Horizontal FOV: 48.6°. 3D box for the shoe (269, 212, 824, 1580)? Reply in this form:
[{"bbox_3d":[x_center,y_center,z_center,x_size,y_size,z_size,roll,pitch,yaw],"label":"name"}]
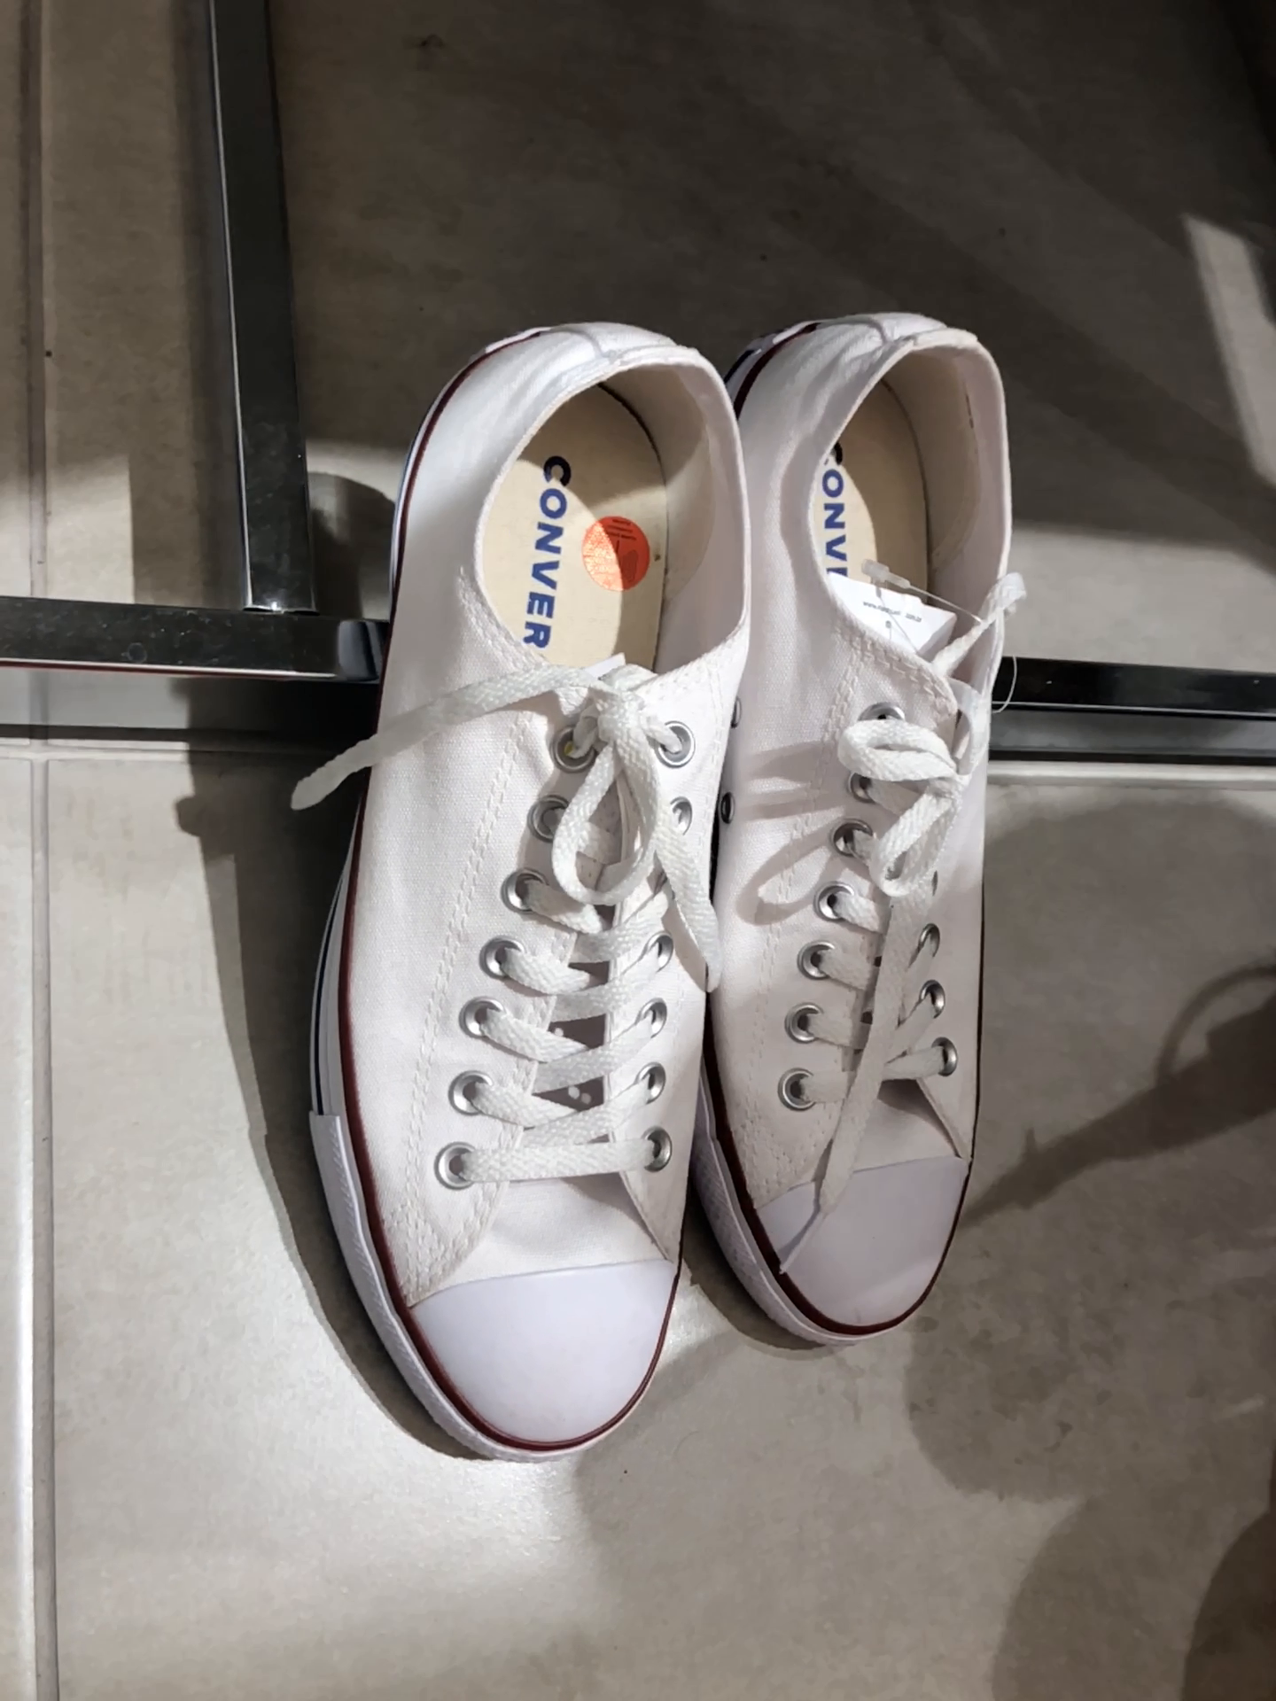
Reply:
[{"bbox_3d":[-0.029,0.011,0.361,0.110,0.090,0.290,0,94,-23],"label":"shoe"}]

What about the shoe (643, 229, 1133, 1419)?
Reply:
[{"bbox_3d":[0.066,-0.007,0.405,0.100,0.090,0.290,-1,94,-24],"label":"shoe"}]
